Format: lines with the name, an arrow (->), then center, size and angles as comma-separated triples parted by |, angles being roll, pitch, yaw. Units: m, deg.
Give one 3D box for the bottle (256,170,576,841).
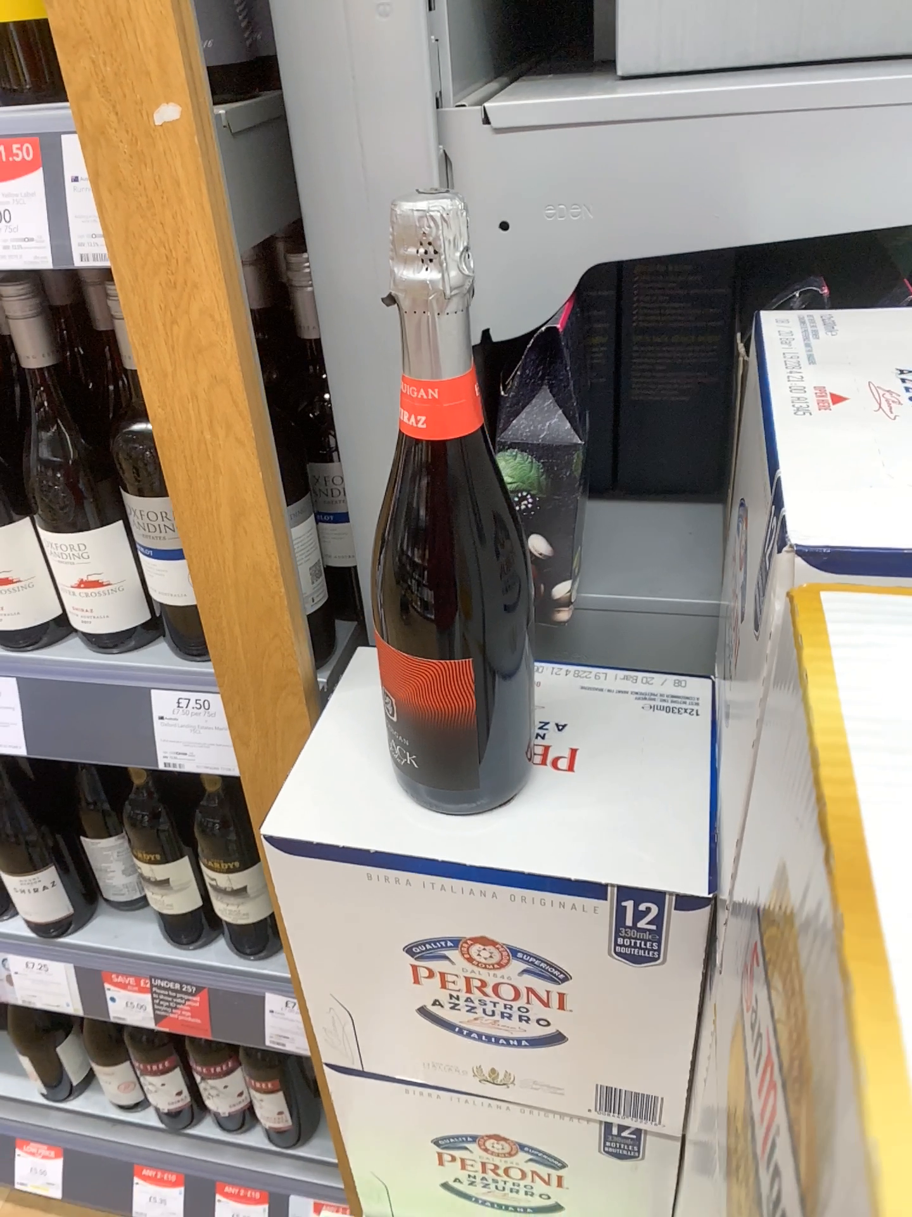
bottle -> -0.008, -0.040, 0.446 | 0.094, 0.289, 0.091 | -3, 33, 2
